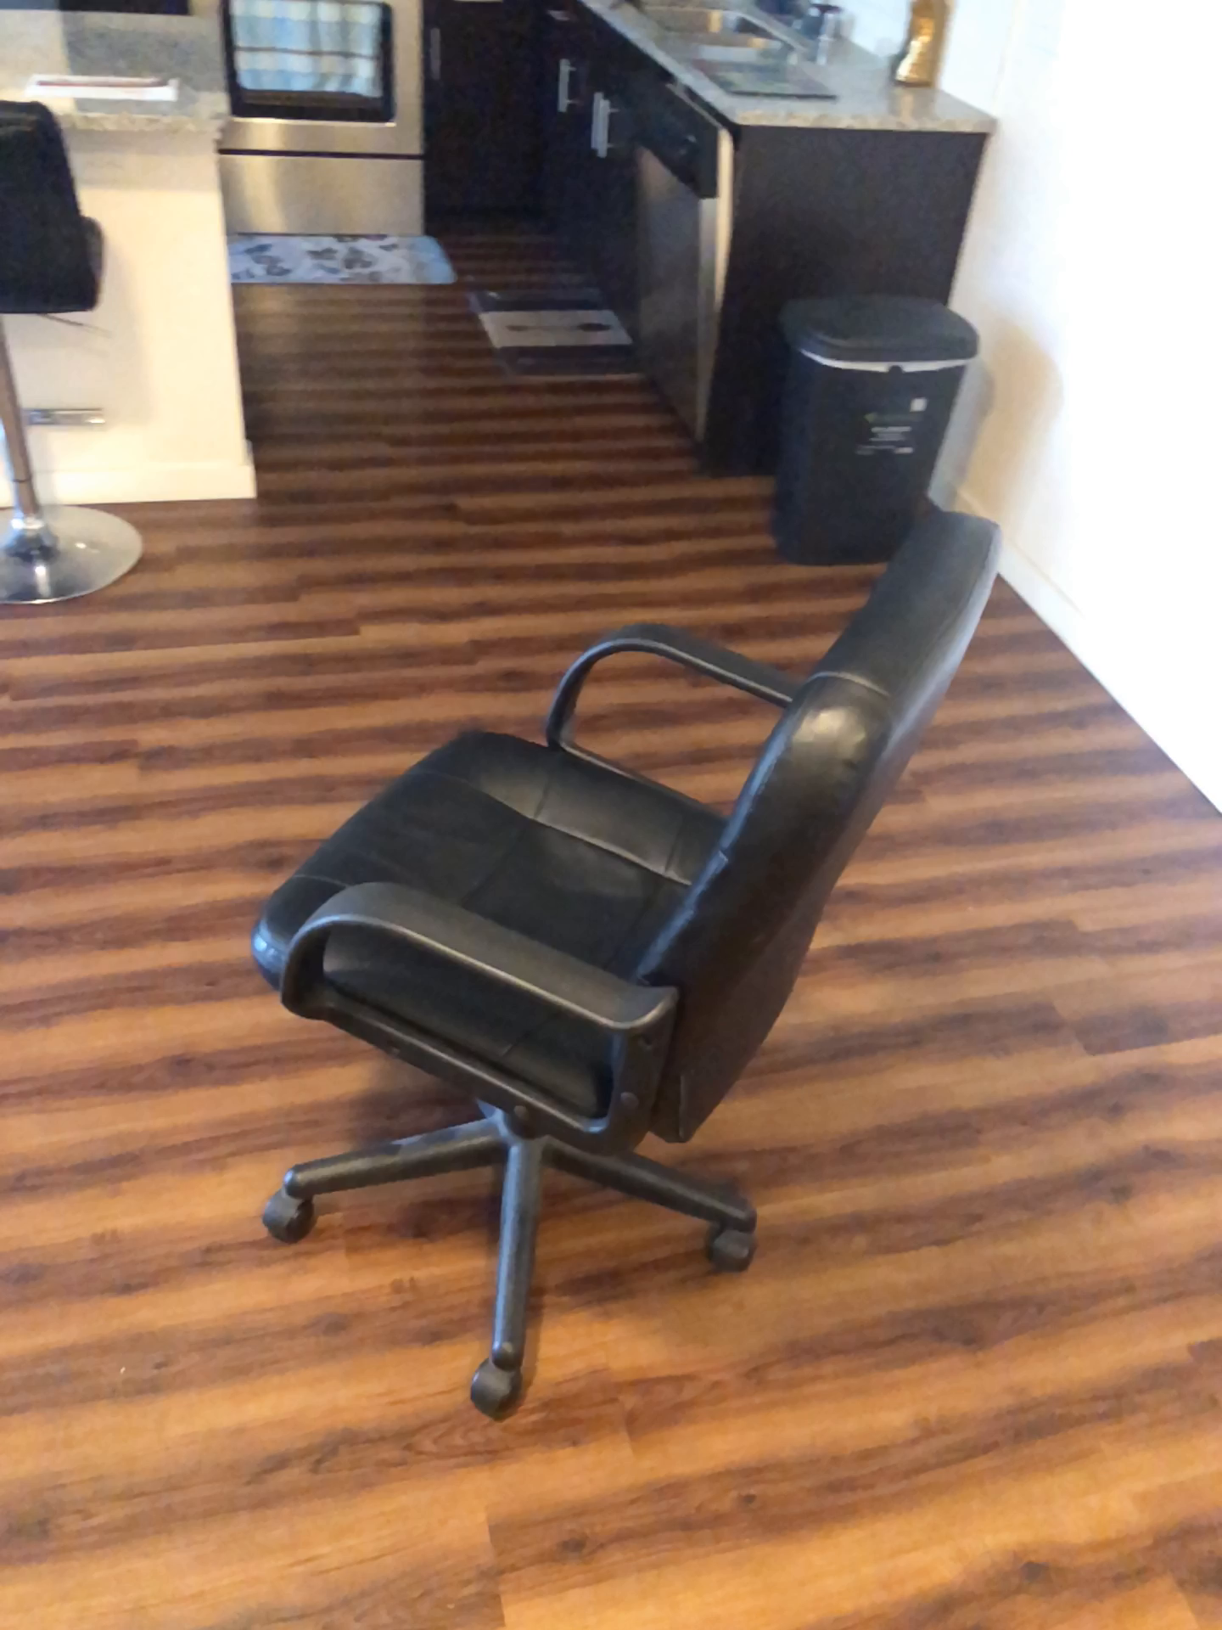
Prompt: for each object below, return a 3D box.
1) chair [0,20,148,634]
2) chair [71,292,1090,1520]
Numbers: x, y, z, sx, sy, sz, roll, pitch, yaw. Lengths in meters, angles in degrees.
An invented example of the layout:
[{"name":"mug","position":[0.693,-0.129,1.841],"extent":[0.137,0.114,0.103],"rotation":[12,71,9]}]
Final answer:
[{"name":"chair","position":[-1.213,-0.923,2.576],"extent":[0.473,0.952,0.559],"rotation":[-7,40,-14]},{"name":"chair","position":[-0.023,0.086,1.507],"extent":[0.667,1.012,0.665],"rotation":[22,41,19]}]
